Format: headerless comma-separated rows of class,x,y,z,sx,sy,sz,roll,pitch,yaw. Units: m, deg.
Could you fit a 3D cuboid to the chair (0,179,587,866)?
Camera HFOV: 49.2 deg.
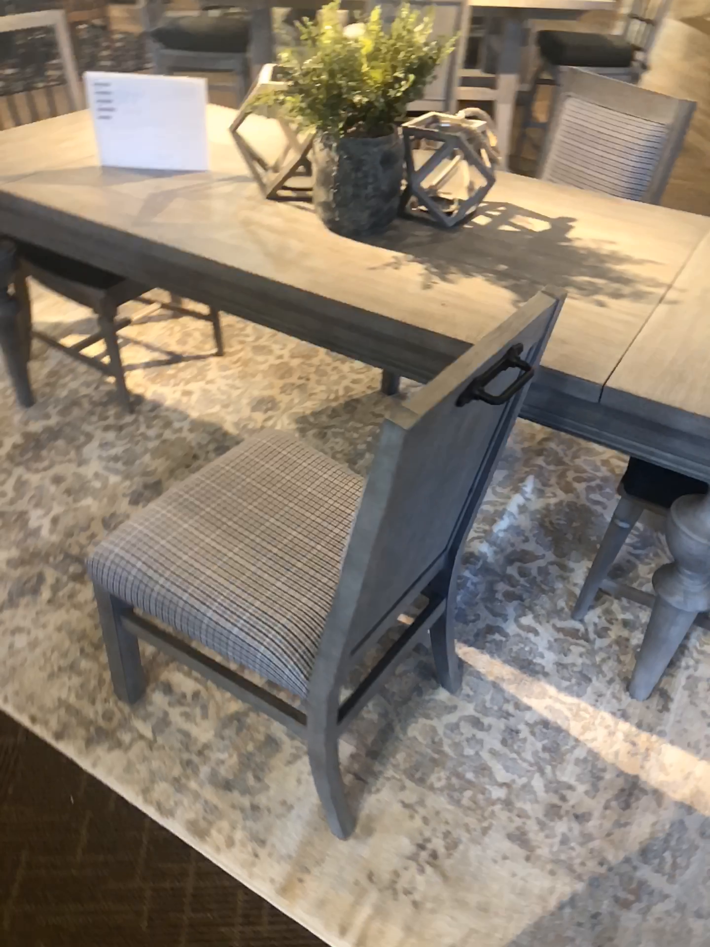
chair,-0.104,0.066,1.345,0.661,0.866,0.512,25,43,25
